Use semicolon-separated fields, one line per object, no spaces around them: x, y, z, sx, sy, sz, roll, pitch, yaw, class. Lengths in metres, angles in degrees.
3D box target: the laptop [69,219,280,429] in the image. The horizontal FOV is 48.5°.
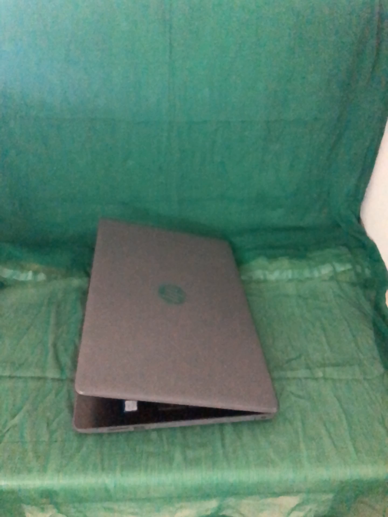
-0.036;0.064;0.637;0.231;0.066;0.361;-2;35;-4;laptop
